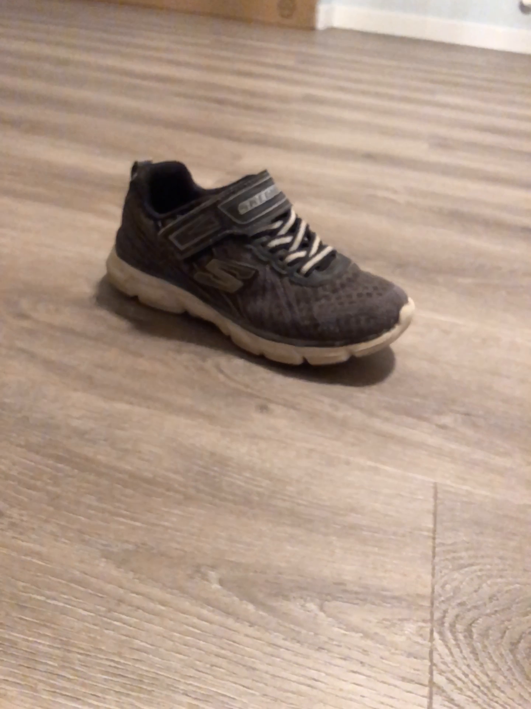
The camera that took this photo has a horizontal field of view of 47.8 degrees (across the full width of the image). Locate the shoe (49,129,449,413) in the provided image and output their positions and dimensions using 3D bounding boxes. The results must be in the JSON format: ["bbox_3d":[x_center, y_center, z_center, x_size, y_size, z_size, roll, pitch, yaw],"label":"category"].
[{"bbox_3d":[-0.016,-0.068,0.398,0.230,0.099,0.100,21,35,21],"label":"shoe"}]
